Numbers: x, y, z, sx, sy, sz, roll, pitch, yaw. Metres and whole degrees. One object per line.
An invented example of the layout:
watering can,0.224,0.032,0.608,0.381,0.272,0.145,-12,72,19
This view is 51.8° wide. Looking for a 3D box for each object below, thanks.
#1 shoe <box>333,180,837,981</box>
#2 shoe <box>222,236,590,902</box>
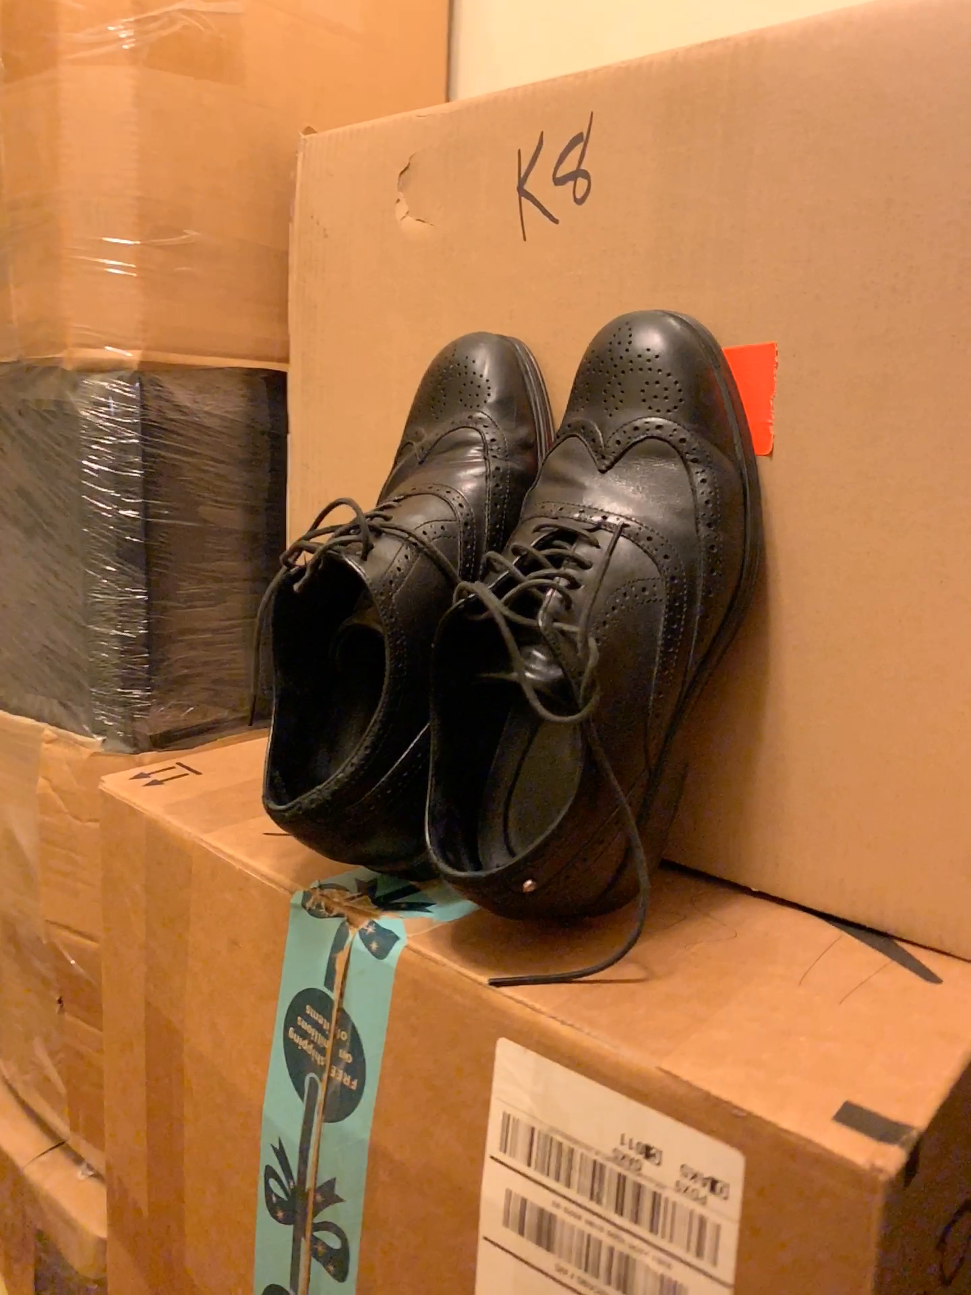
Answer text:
shoe,0.043,-0.027,0.417,0.120,0.280,0.100,12,-1,37
shoe,-0.034,-0.031,0.485,0.120,0.281,0.100,-2,-10,35
